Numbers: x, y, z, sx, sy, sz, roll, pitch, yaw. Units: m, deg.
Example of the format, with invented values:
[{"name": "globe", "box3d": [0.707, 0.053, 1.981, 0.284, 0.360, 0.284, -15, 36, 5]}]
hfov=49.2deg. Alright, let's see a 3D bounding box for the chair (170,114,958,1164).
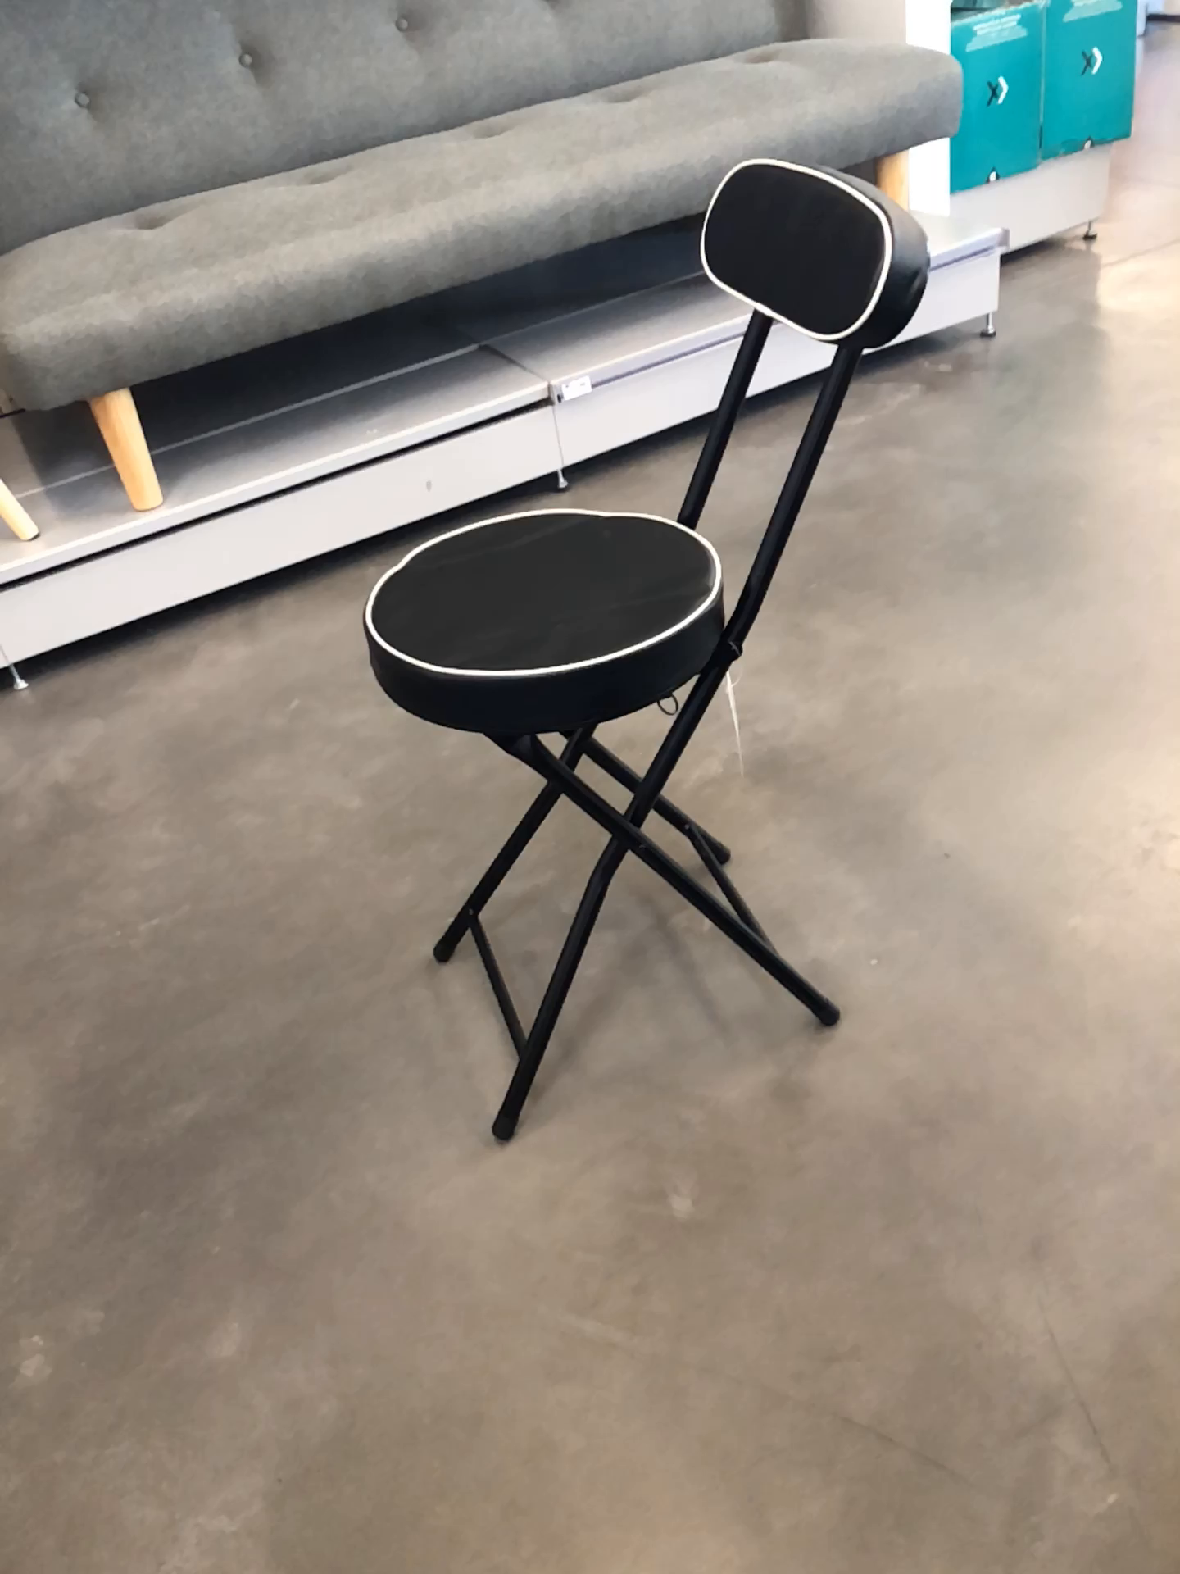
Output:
[{"name": "chair", "box3d": [0.014, -0.116, 1.165, 0.511, 0.756, 0.342, -18, 36, -9]}]
